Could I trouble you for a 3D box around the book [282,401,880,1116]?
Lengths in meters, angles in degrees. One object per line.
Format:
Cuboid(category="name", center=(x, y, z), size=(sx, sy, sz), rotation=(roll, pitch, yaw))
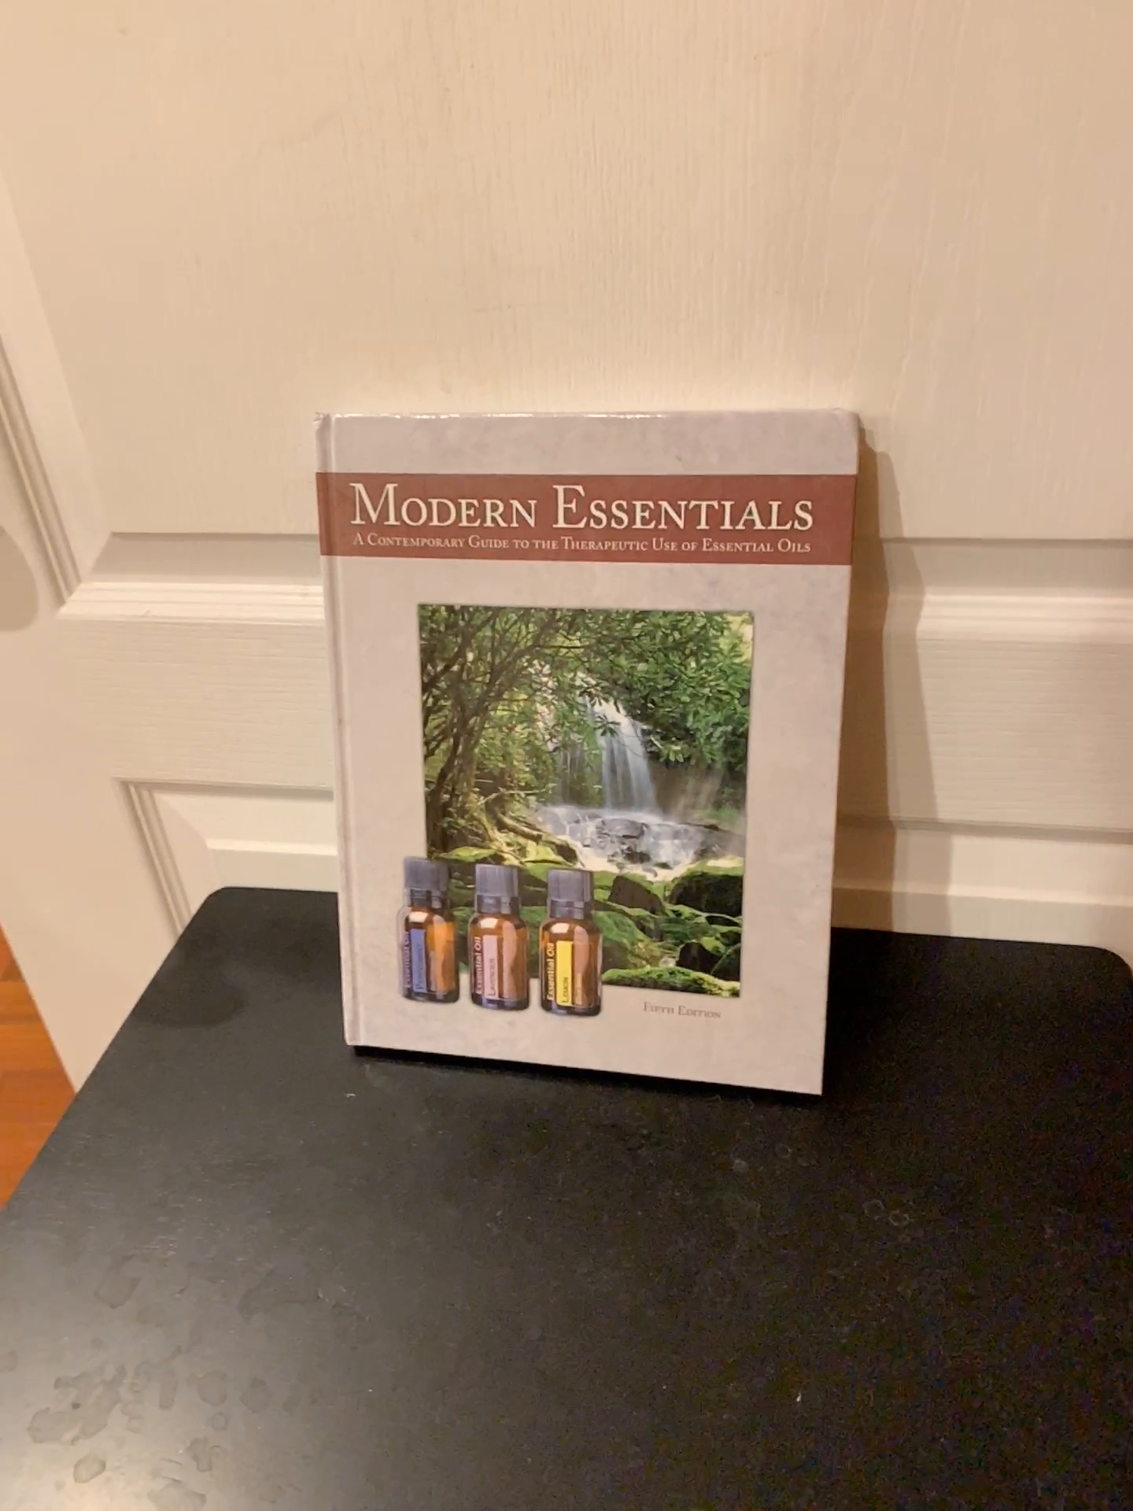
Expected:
Cuboid(category="book", center=(0.004, 0.003, 0.490), size=(0.230, 0.289, 0.030), rotation=(3, 16, 12))
